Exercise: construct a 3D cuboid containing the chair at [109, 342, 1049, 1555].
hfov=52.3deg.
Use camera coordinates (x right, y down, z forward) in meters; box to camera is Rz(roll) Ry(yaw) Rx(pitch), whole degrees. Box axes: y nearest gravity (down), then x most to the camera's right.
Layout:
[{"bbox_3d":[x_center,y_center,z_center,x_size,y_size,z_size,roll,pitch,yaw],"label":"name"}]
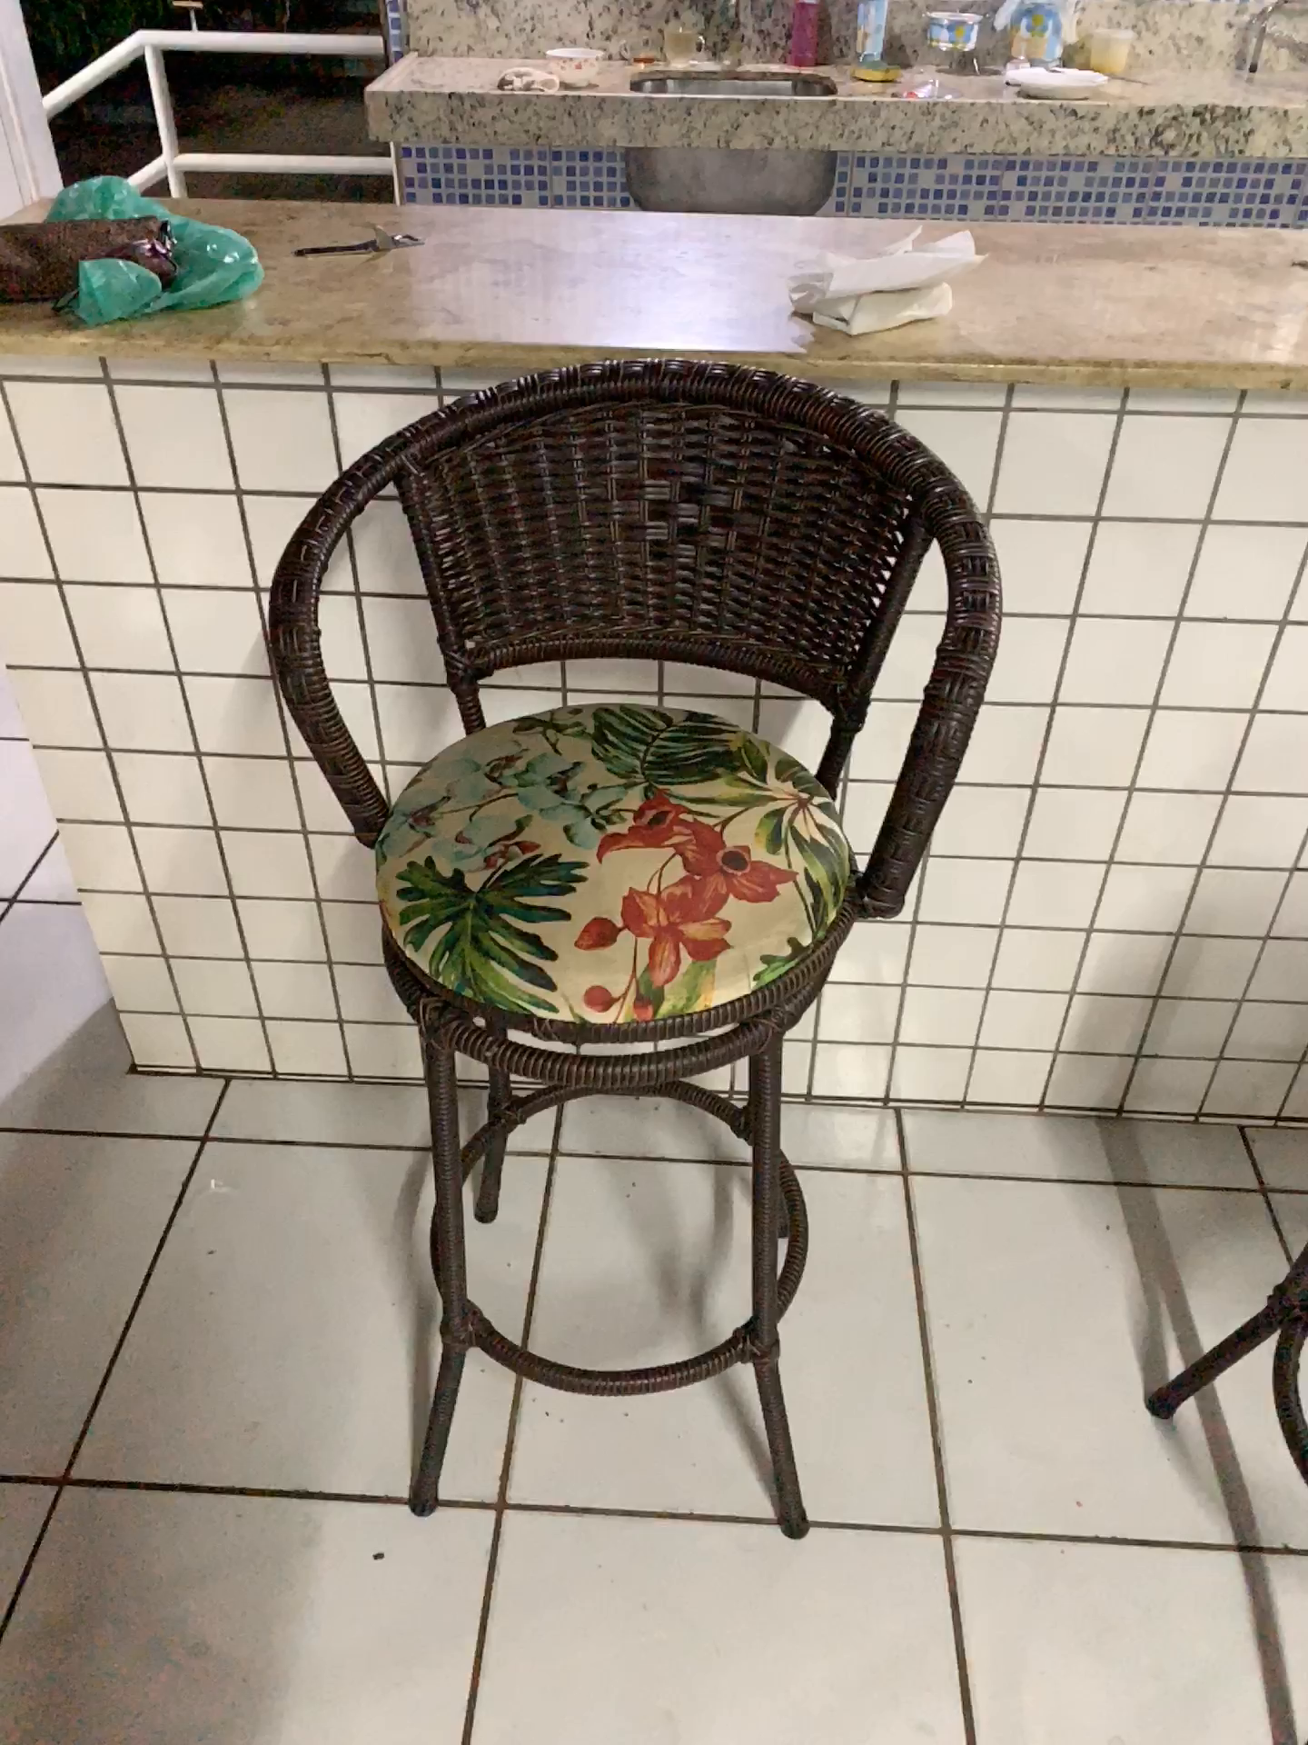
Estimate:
[{"bbox_3d":[-0.036,0.106,1.215,0.500,0.974,0.533,2,38,2],"label":"chair"}]
